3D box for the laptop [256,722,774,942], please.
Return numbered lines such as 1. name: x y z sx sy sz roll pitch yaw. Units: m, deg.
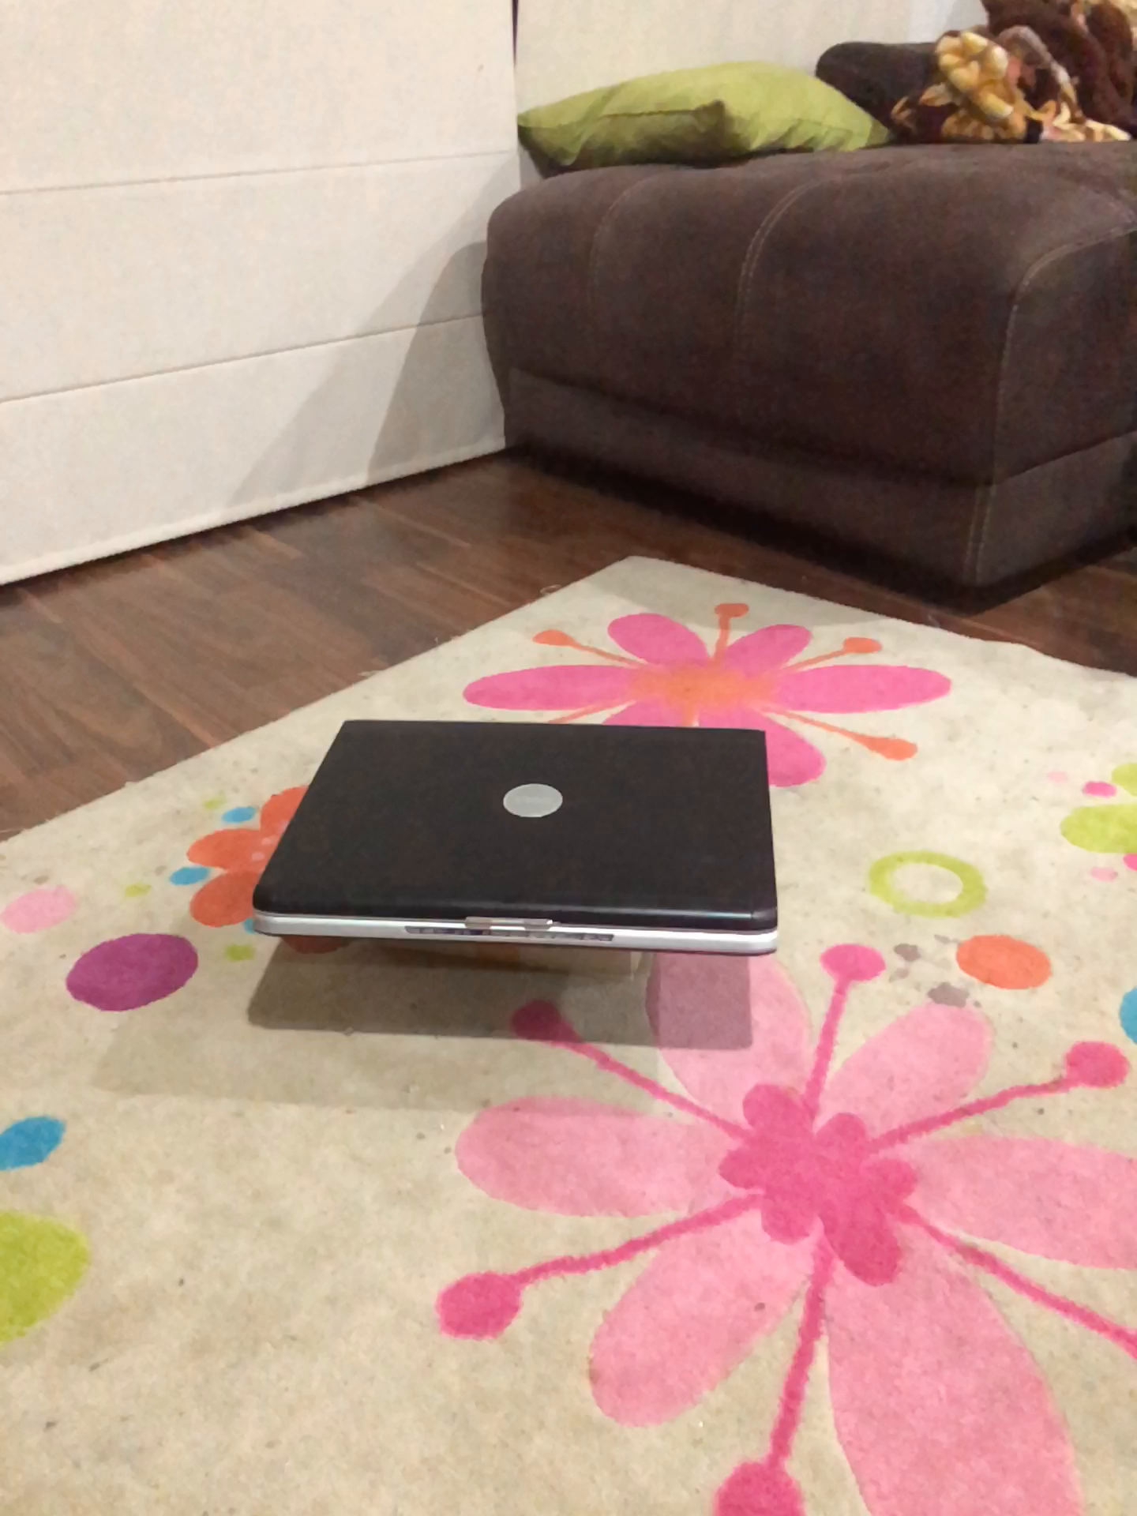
1. laptop: -0.028 0.045 0.931 0.353 0.015 0.233 0 34 9
